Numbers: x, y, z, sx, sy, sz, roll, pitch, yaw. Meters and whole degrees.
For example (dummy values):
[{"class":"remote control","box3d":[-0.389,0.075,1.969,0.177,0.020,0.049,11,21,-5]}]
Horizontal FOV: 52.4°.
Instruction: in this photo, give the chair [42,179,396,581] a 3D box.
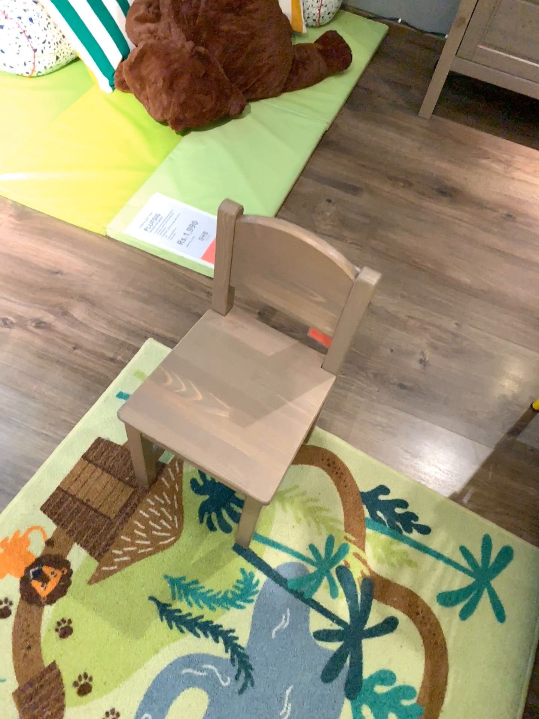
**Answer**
[{"class":"chair","box3d":[-0.072,0.064,0.855,0.290,0.489,0.331,28,57,10]}]
